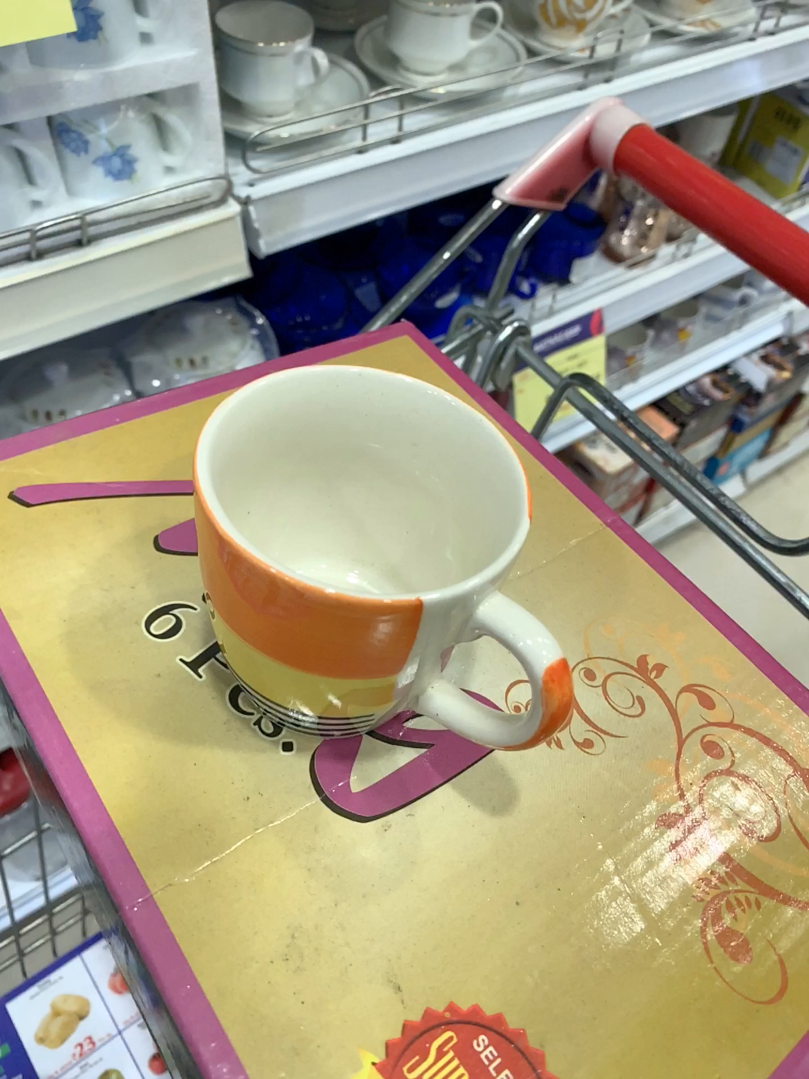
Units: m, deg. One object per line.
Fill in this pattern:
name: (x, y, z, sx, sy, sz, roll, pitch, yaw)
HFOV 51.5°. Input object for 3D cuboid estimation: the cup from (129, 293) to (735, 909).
cup: (0.001, 0.008, 0.188, 0.090, 0.070, 0.080, 39, 50, 22)
